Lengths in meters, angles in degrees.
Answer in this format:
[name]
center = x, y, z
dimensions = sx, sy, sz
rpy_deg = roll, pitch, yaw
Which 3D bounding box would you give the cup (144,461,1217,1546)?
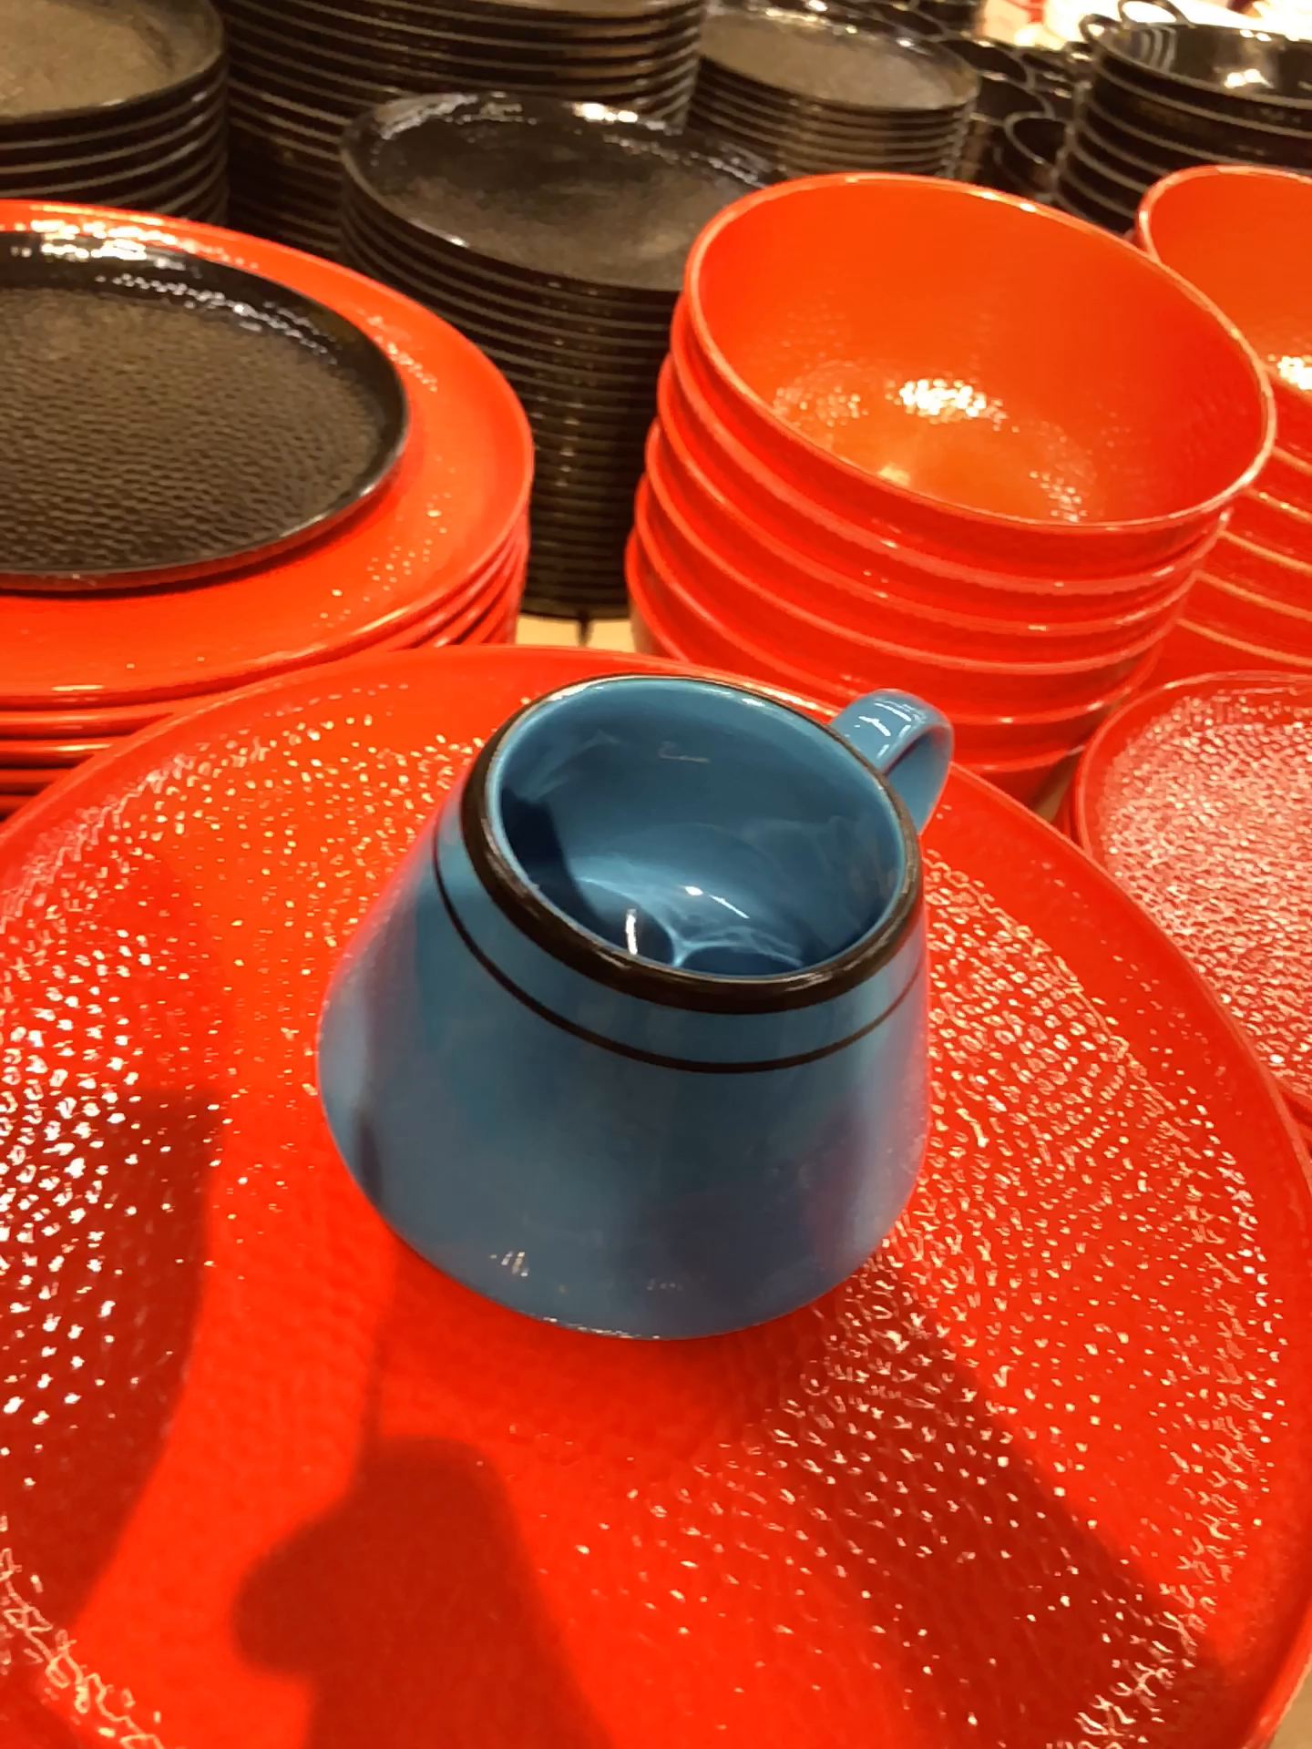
[cup]
center = 0.006, 0.010, 0.260
dimensions = 0.110, 0.089, 0.141
rpy_deg = 33, 46, 21
